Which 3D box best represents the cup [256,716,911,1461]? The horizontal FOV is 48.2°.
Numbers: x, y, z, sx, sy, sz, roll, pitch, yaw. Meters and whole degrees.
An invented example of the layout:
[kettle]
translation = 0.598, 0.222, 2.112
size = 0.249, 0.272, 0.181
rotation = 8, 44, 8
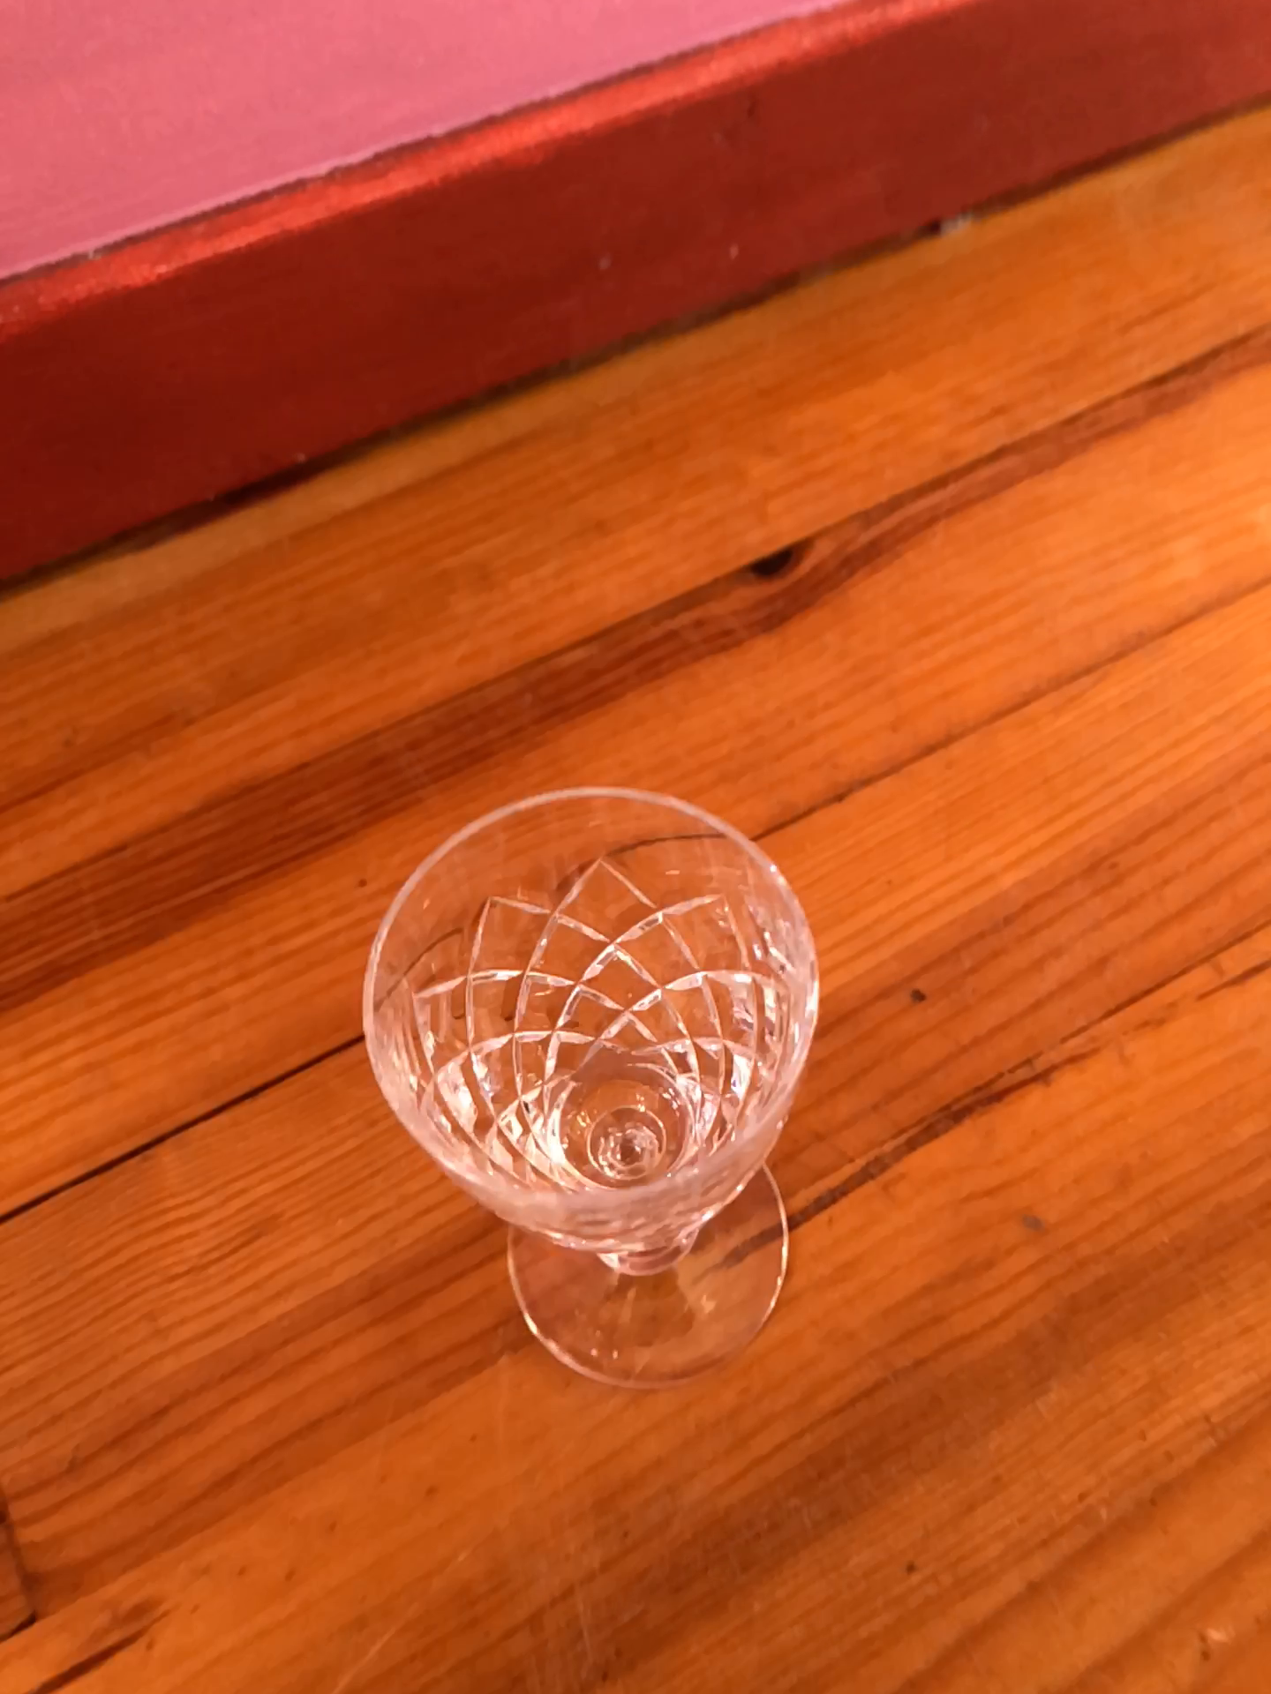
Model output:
[cup]
translation = 0.000, 0.043, 0.213
size = 0.059, 0.113, 0.057
rotation = -2, 58, 4
